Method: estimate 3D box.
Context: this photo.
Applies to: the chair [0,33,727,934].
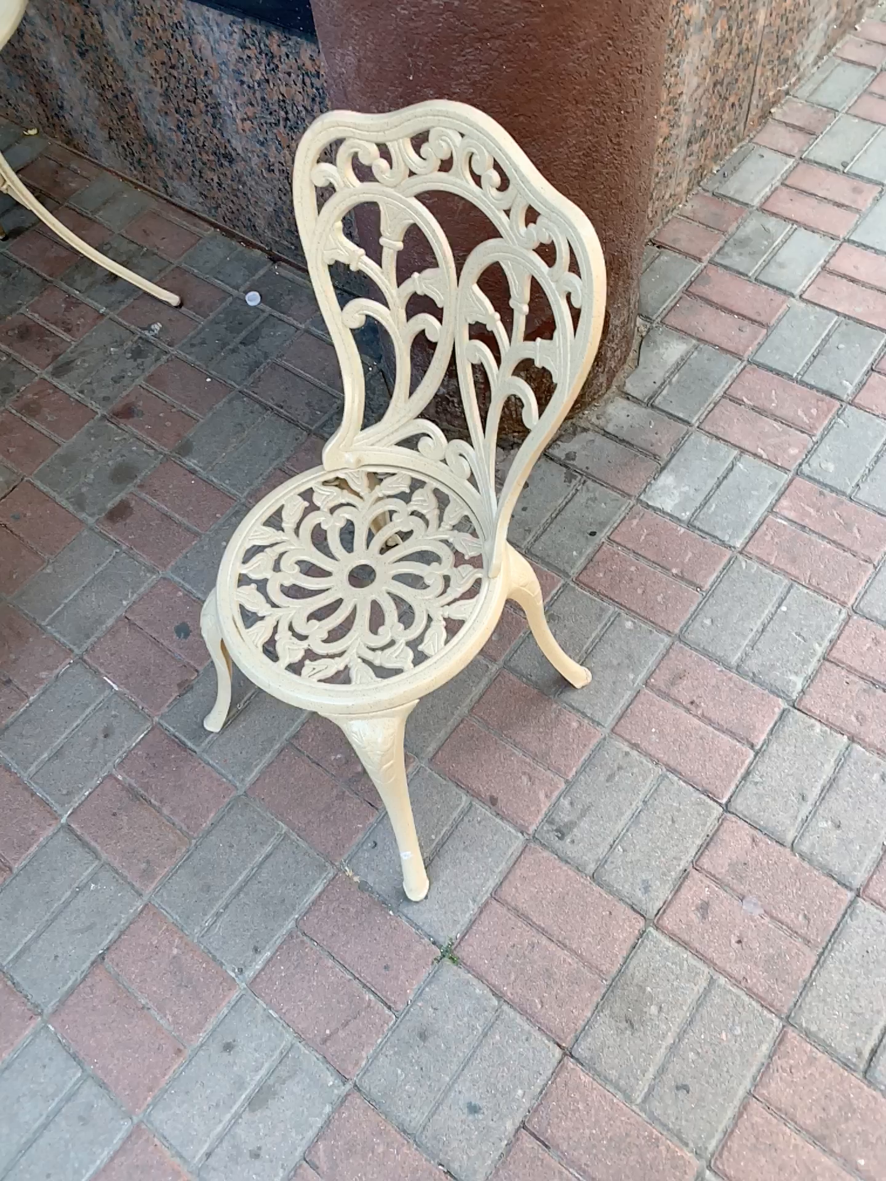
[{"bbox_3d":[-0.089,-0.056,1.072,0.481,0.798,0.550,33,67,23],"label":"chair"}]
